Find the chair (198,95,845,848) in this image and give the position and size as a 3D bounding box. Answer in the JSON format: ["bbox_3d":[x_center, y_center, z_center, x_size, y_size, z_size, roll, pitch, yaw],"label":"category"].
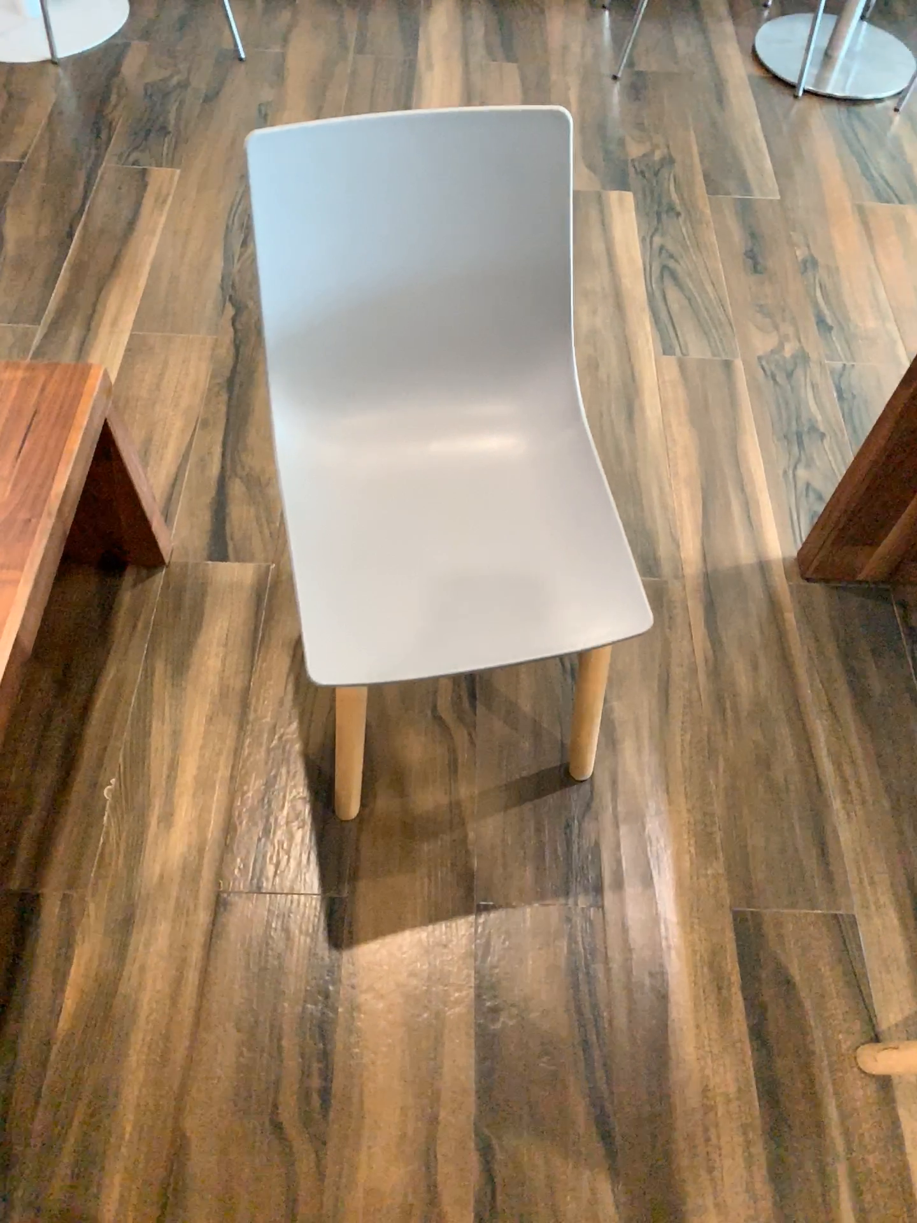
[{"bbox_3d":[0.003,-0.128,1.157,0.500,0.696,0.563,-6,58,-7],"label":"chair"}]
